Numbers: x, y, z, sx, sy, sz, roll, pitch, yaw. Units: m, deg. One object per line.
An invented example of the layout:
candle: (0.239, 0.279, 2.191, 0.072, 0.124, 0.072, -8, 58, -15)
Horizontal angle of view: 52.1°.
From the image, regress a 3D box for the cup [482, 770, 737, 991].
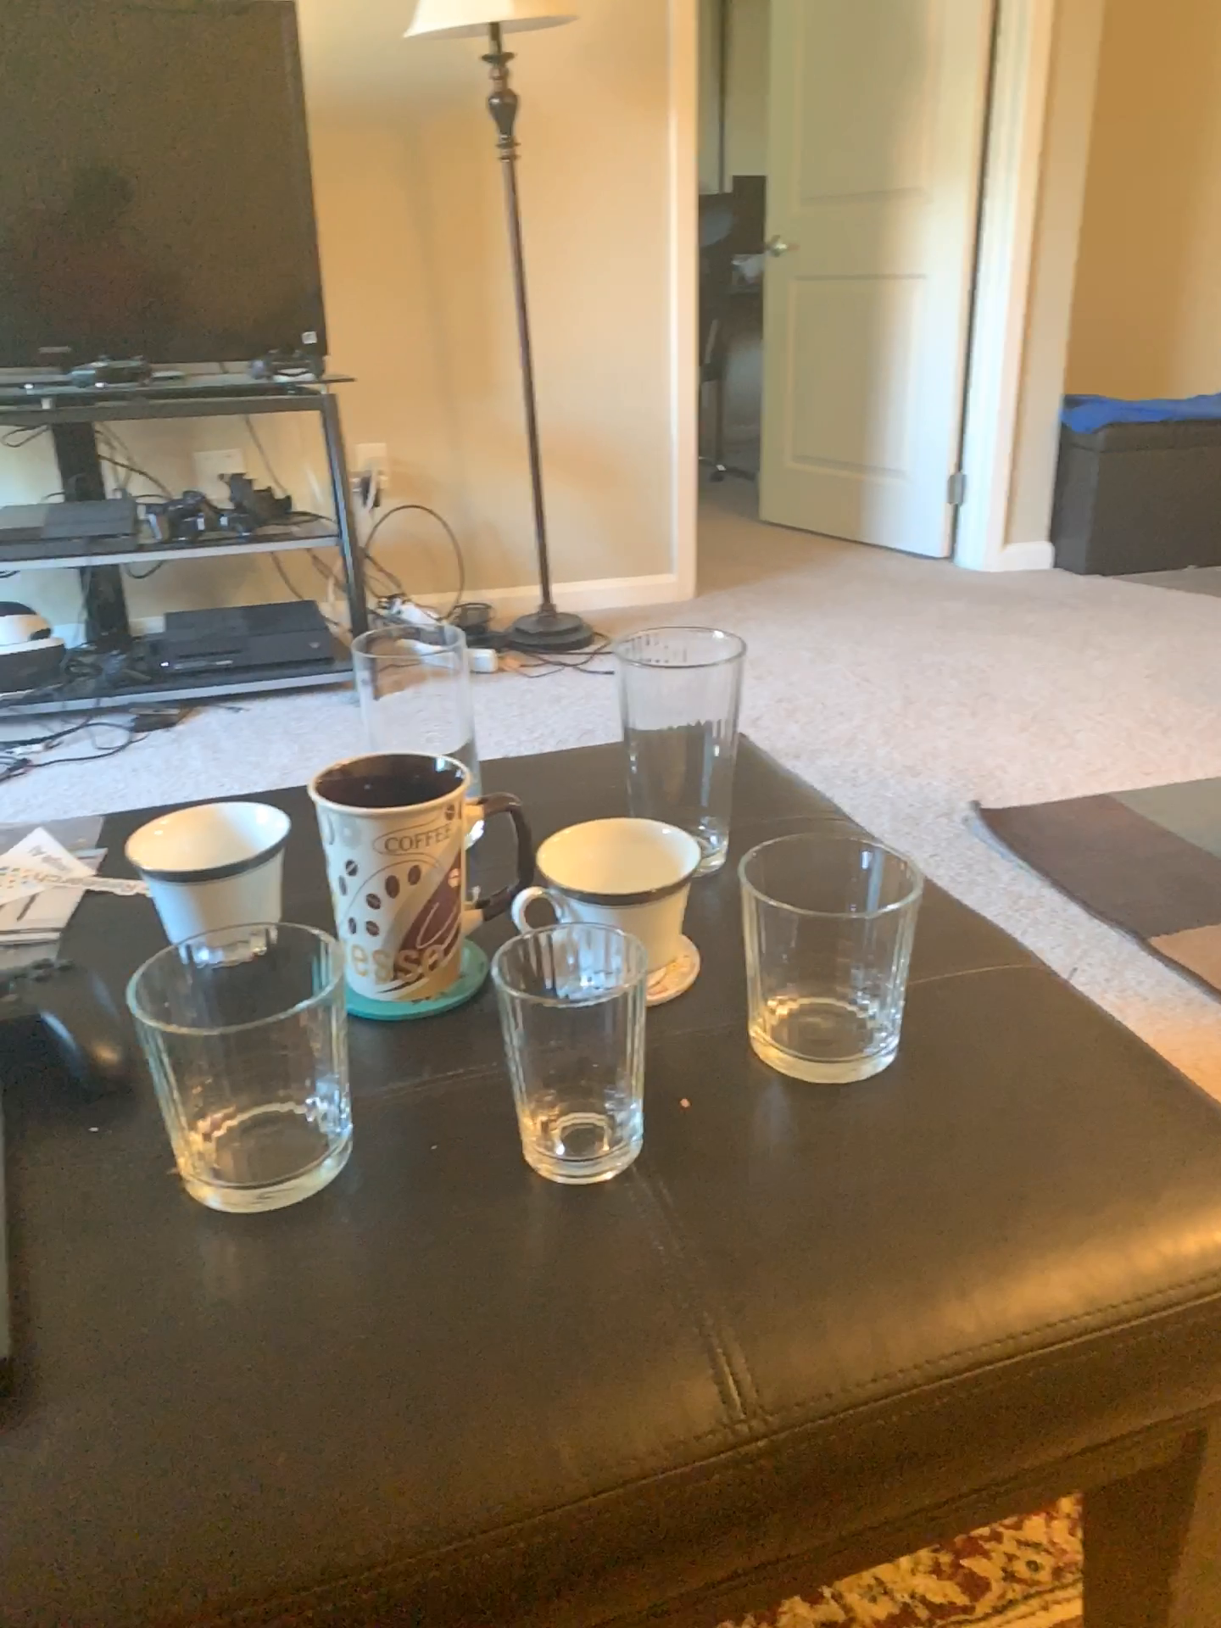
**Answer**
cup: (-0.001, 0.033, 0.692, 0.110, 0.070, 0.090, -13, 25, -24)

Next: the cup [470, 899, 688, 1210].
cup: (-0.013, 0.105, 0.561, 0.070, 0.099, 0.070, -1, 23, 1)

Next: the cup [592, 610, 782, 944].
cup: (0.049, -0.027, 0.827, 0.090, 0.189, 0.091, -1, 23, 1)

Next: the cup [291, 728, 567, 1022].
cup: (-0.103, 0.030, 0.708, 0.130, 0.119, 0.091, -9, 24, -17)

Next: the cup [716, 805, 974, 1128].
cup: (0.116, 0.074, 0.640, 0.090, 0.119, 0.091, -1, 23, 1)

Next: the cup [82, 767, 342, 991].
cup: (-0.235, 0.034, 0.740, 0.110, 0.080, 0.090, 16, 28, 35)

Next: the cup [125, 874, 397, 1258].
cup: (-0.155, 0.107, 0.555, 0.090, 0.119, 0.091, -1, 23, 1)

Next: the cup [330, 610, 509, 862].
cup: (-0.131, -0.057, 0.856, 0.090, 0.139, 0.091, -1, 23, 1)
